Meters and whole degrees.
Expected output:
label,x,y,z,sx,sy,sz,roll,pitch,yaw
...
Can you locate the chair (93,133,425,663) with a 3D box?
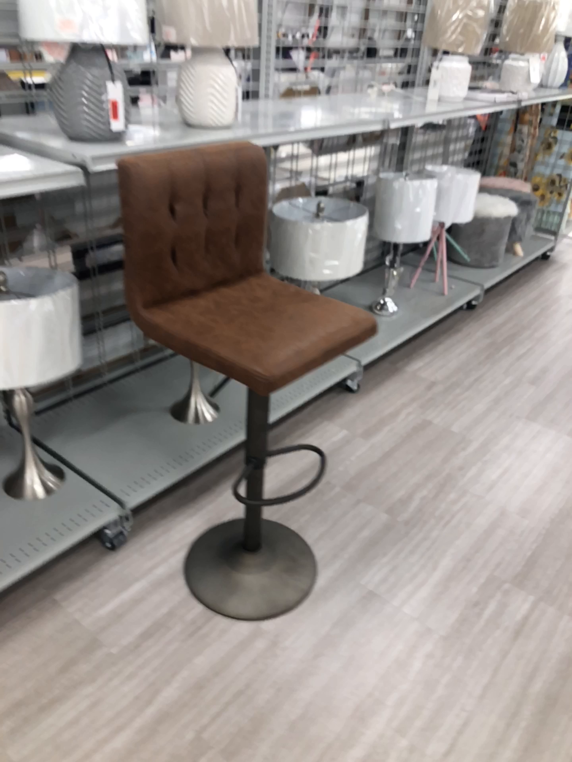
label,x,y,z,sx,sy,sz,roll,pitch,yaw
chair,-0.075,0.037,1.541,0.469,1.103,0.476,25,36,32
